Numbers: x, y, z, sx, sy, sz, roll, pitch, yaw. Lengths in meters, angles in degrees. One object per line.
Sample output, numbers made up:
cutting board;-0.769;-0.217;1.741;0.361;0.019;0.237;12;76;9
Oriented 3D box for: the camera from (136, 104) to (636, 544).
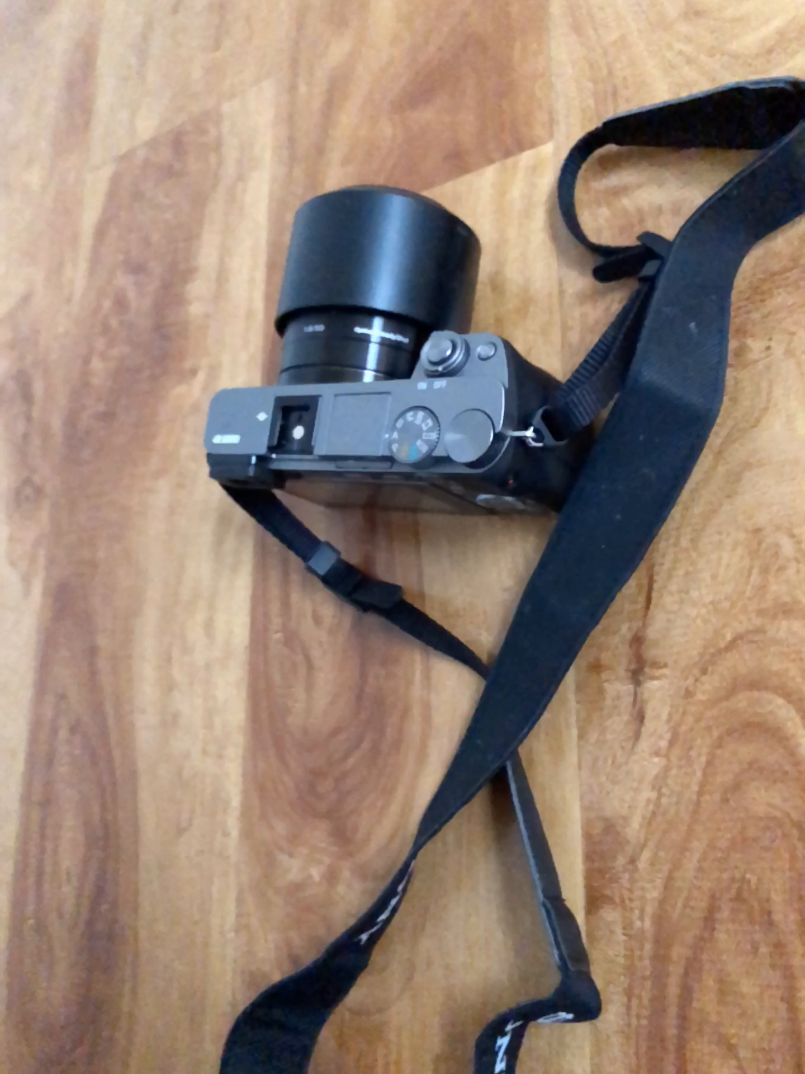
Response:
camera;-0.006;-0.064;0.317;0.140;0.080;0.110;4;80;36
